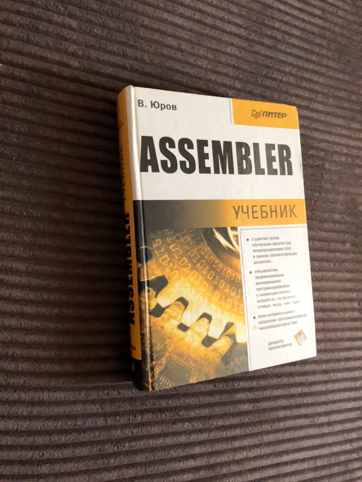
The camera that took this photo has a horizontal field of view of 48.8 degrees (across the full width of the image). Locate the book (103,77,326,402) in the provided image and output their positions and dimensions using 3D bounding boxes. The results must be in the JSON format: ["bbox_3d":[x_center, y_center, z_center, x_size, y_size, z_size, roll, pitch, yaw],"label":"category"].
[{"bbox_3d":[0.031,-0.005,0.352,0.171,0.058,0.236,-3,86,-26],"label":"book"}]
